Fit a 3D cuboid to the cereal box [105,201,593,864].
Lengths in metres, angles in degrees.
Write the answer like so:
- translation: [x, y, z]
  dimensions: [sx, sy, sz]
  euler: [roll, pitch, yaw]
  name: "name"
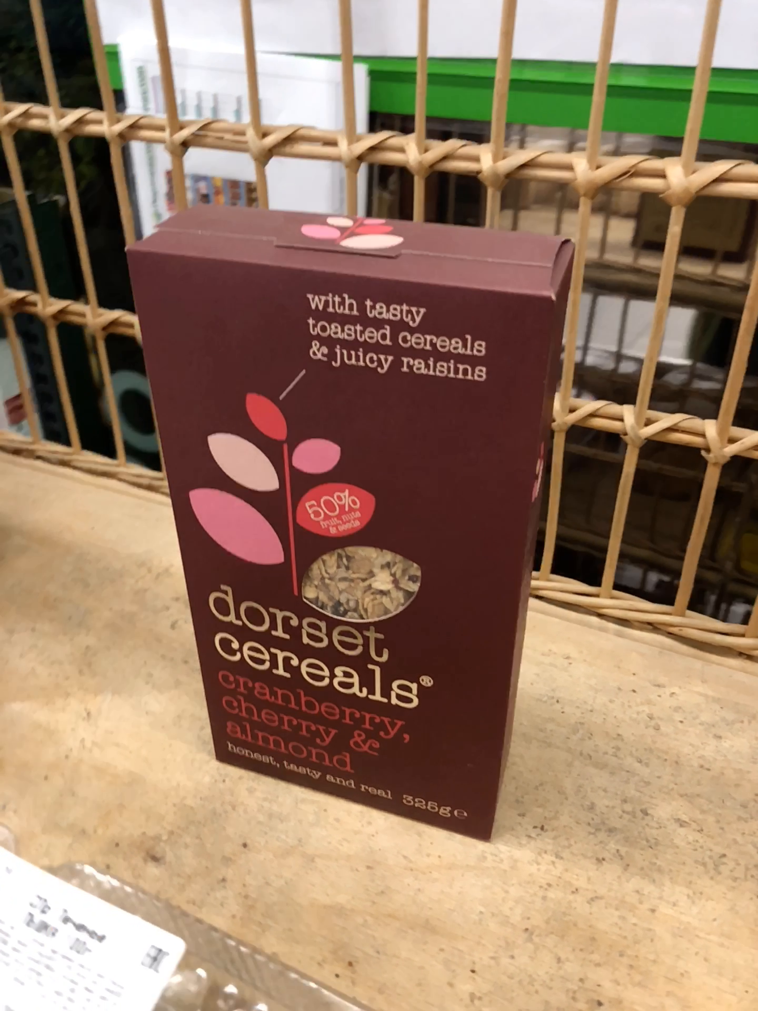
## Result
- translation: [-0.007, 0.017, 0.280]
  dimensions: [0.120, 0.209, 0.050]
  euler: [10, 34, 15]
  name: "cereal box"
